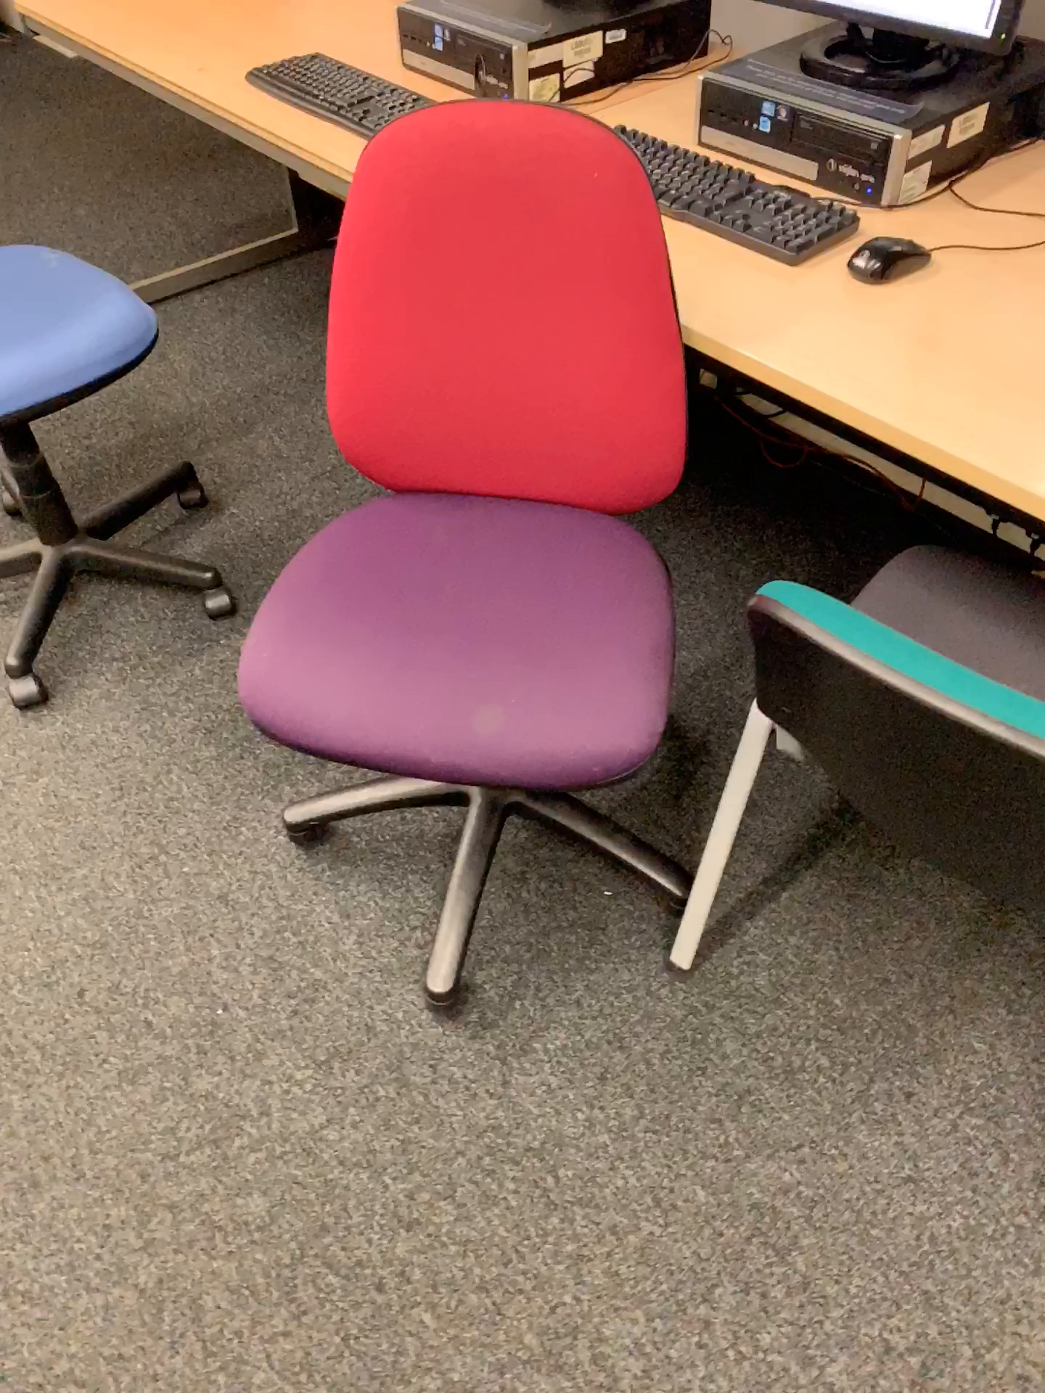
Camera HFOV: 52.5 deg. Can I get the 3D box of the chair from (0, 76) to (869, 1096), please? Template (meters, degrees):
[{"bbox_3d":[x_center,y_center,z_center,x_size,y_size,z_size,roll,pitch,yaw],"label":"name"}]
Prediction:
[{"bbox_3d":[-0.051,-0.107,1.195,0.654,0.868,0.603,10,47,12],"label":"chair"}]

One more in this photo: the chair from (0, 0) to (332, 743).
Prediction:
[{"bbox_3d":[-0.781,-0.525,1.611,0.605,0.829,0.601,-36,54,-28],"label":"chair"}]
